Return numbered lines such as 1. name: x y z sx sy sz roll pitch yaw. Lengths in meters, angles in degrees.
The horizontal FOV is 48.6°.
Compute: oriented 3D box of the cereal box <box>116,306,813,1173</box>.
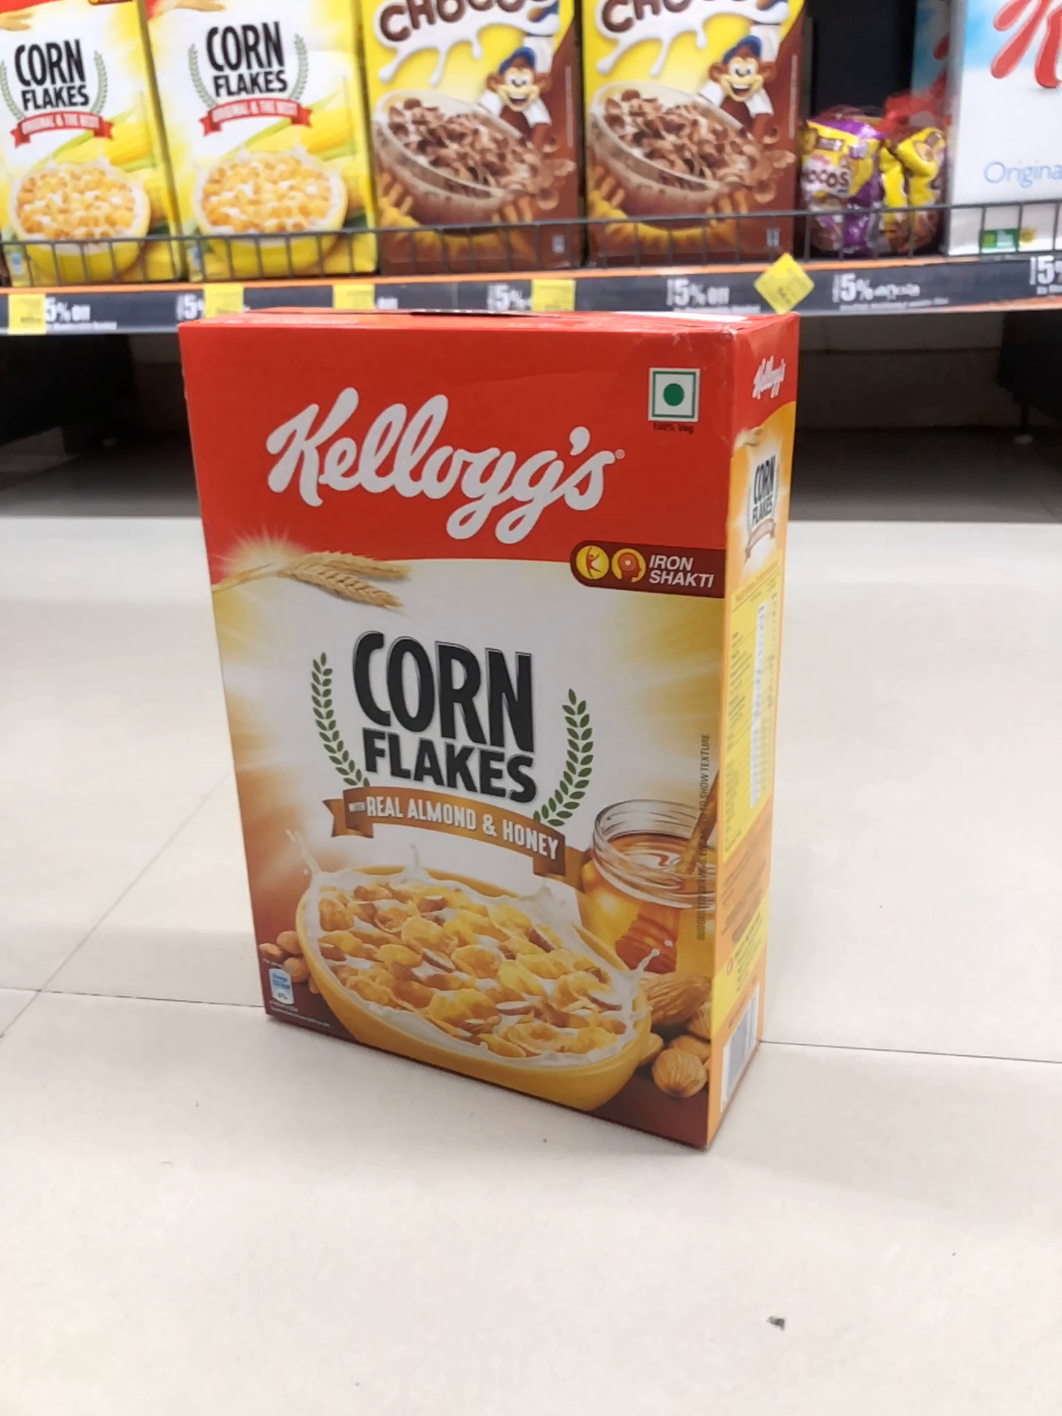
1. cereal box: -0.018 0.003 0.385 0.190 0.249 0.070 9 25 25
